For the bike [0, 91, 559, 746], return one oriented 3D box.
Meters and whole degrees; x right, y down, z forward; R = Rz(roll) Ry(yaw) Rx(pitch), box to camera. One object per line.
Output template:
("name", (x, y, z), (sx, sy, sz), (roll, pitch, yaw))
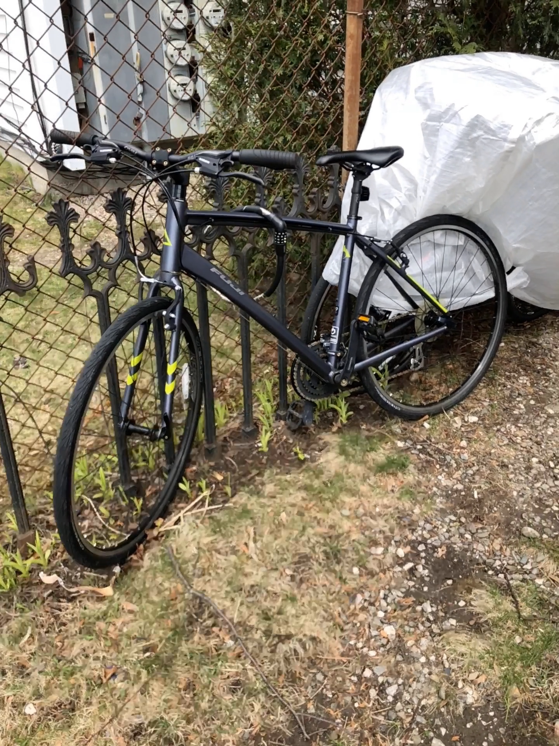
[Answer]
("bike", (0.232, -0.145, 2.005), (0.678, 1.347, 2.202), (26, 36, 36))
